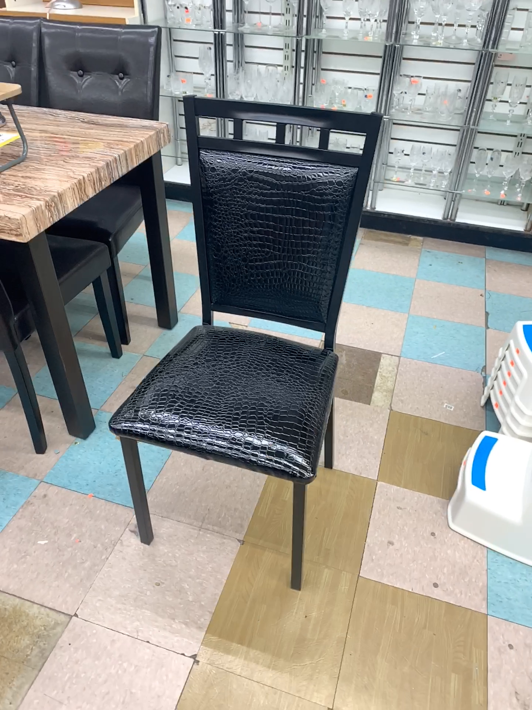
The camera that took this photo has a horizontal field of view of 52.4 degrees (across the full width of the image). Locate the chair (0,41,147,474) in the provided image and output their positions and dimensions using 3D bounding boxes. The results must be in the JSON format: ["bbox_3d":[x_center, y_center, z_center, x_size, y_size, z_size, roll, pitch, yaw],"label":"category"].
[{"bbox_3d":[-0.757,-0.259,1.471,0.531,0.923,0.597,10,40,11],"label":"chair"}]

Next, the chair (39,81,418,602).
[{"bbox_3d":[-0.019,-0.001,1.173,0.461,0.943,0.507,12,41,14],"label":"chair"}]
